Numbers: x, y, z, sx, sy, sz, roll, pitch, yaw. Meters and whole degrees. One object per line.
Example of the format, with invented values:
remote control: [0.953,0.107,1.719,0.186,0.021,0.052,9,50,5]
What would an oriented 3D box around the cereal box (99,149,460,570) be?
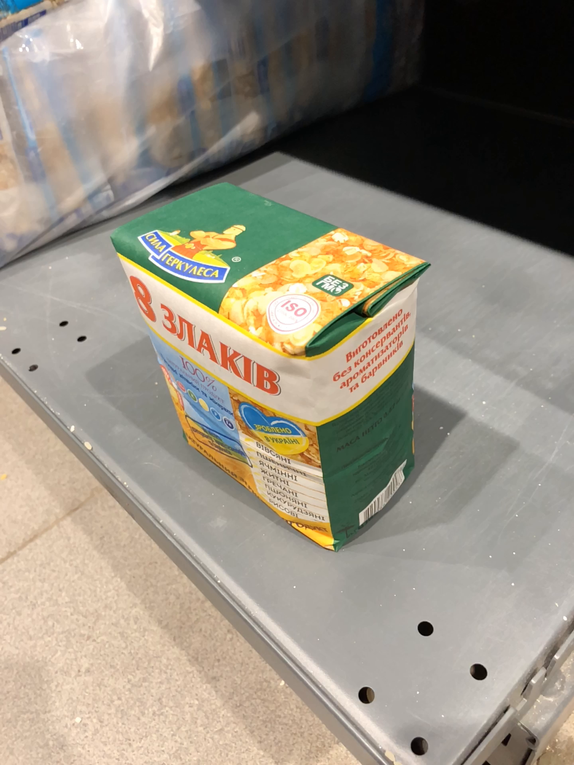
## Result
cereal box: [-0.001,-0.012,0.279,0.070,0.129,0.120,-37,50,-27]
